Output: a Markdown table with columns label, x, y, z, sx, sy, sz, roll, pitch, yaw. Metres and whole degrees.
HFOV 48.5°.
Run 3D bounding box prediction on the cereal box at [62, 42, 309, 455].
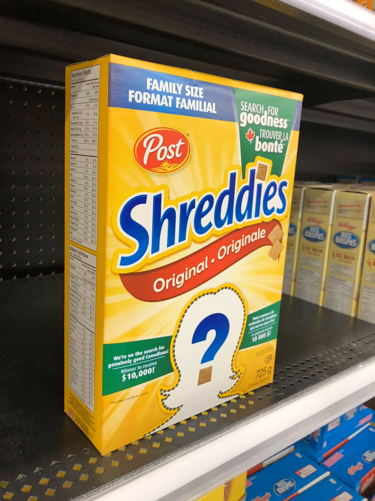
| label | x | y | z | sx | sy | sz | roll | pitch | yaw |
| --- | --- | --- | --- | --- | --- | --- | --- | --- | --- |
| cereal box | 0.002 | -0.004 | 0.378 | 0.210 | 0.289 | 0.070 | -6 | 15 | -38 |
